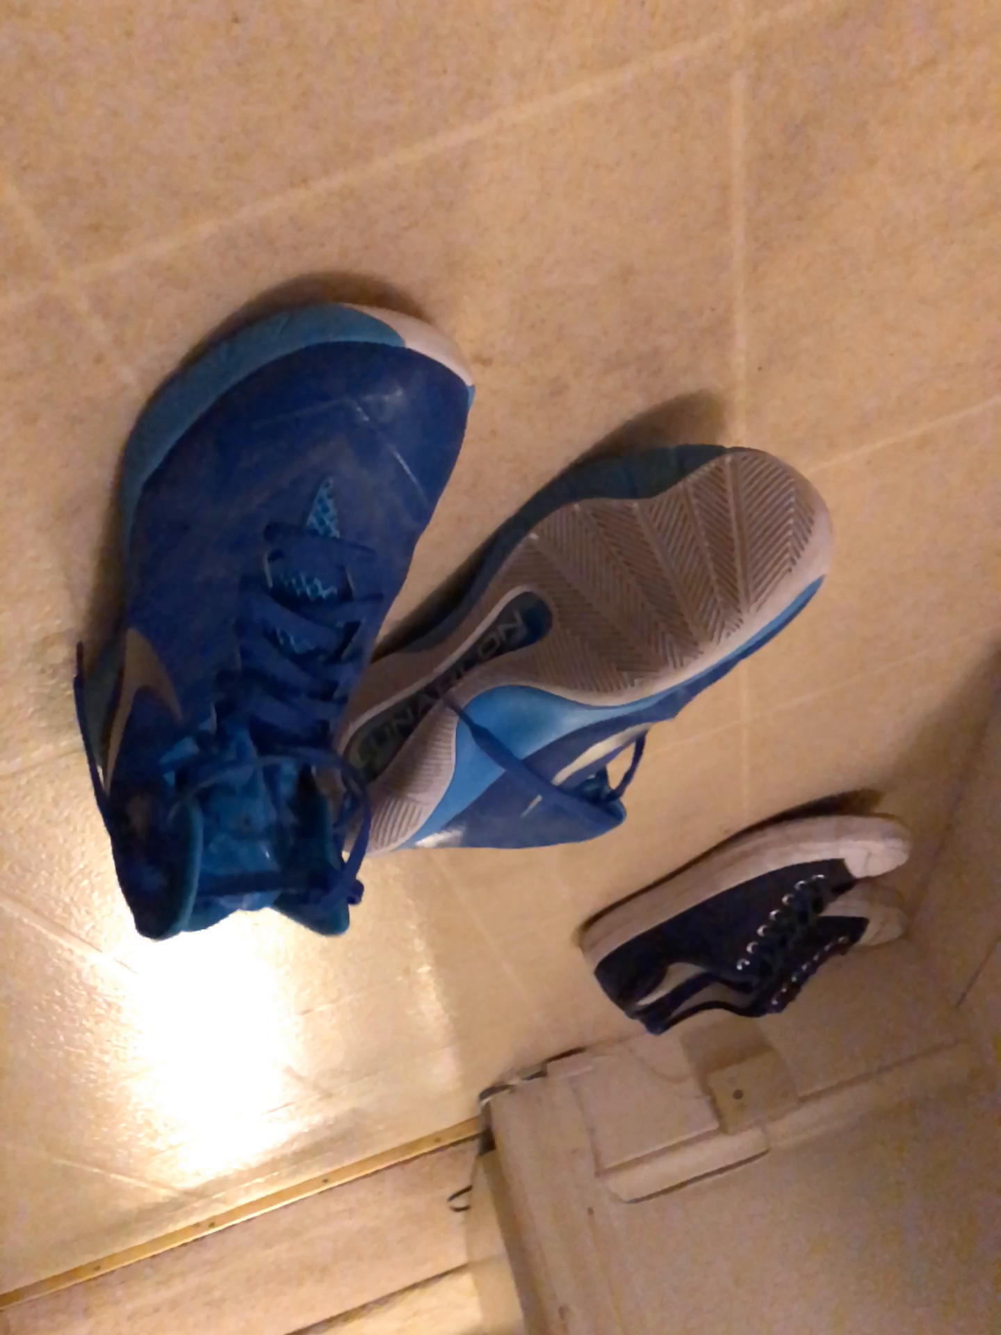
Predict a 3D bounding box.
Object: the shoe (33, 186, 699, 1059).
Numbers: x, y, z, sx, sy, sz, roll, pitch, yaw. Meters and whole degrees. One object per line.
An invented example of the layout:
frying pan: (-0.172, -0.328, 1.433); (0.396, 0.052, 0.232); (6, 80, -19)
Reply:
shoe: (-0.084, 0.012, 0.425); (0.120, 0.144, 0.311); (4, 140, -32)

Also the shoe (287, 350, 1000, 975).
shoe: (0.055, 0.020, 0.520); (0.160, 0.119, 0.282); (10, 136, -45)
